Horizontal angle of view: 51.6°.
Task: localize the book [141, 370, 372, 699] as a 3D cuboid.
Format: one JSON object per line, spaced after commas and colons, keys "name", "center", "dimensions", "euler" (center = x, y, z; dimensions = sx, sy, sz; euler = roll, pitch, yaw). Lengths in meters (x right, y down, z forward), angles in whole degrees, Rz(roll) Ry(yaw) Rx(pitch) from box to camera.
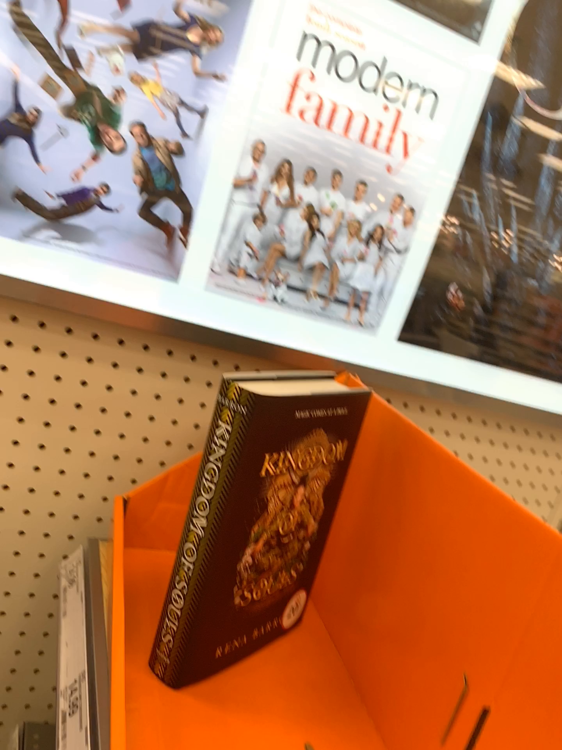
{"name": "book", "center": [-0.014, 0.118, 0.482], "dimensions": [0.040, 0.241, 0.160], "euler": [22, 12, 36]}
